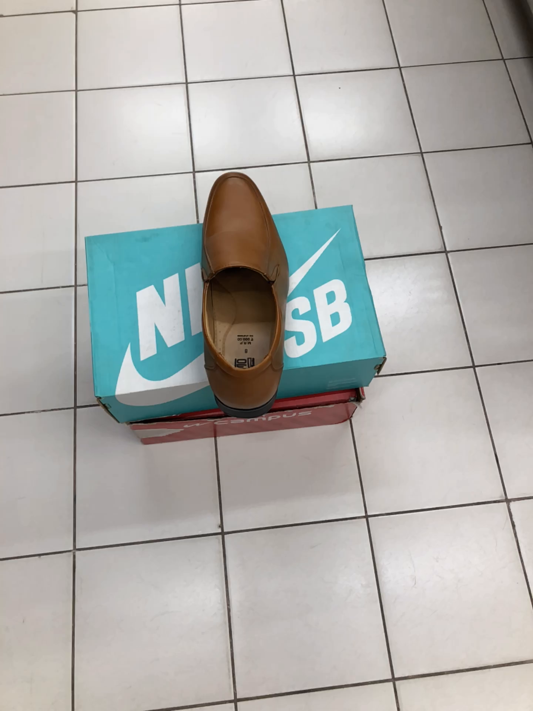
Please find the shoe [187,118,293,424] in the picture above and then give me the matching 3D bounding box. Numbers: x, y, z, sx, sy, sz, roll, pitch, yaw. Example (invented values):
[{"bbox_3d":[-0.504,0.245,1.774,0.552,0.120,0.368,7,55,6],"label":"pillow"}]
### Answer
[{"bbox_3d":[-0.032,-0.093,0.627,0.090,0.100,0.311,-3,69,-2],"label":"shoe"}]
